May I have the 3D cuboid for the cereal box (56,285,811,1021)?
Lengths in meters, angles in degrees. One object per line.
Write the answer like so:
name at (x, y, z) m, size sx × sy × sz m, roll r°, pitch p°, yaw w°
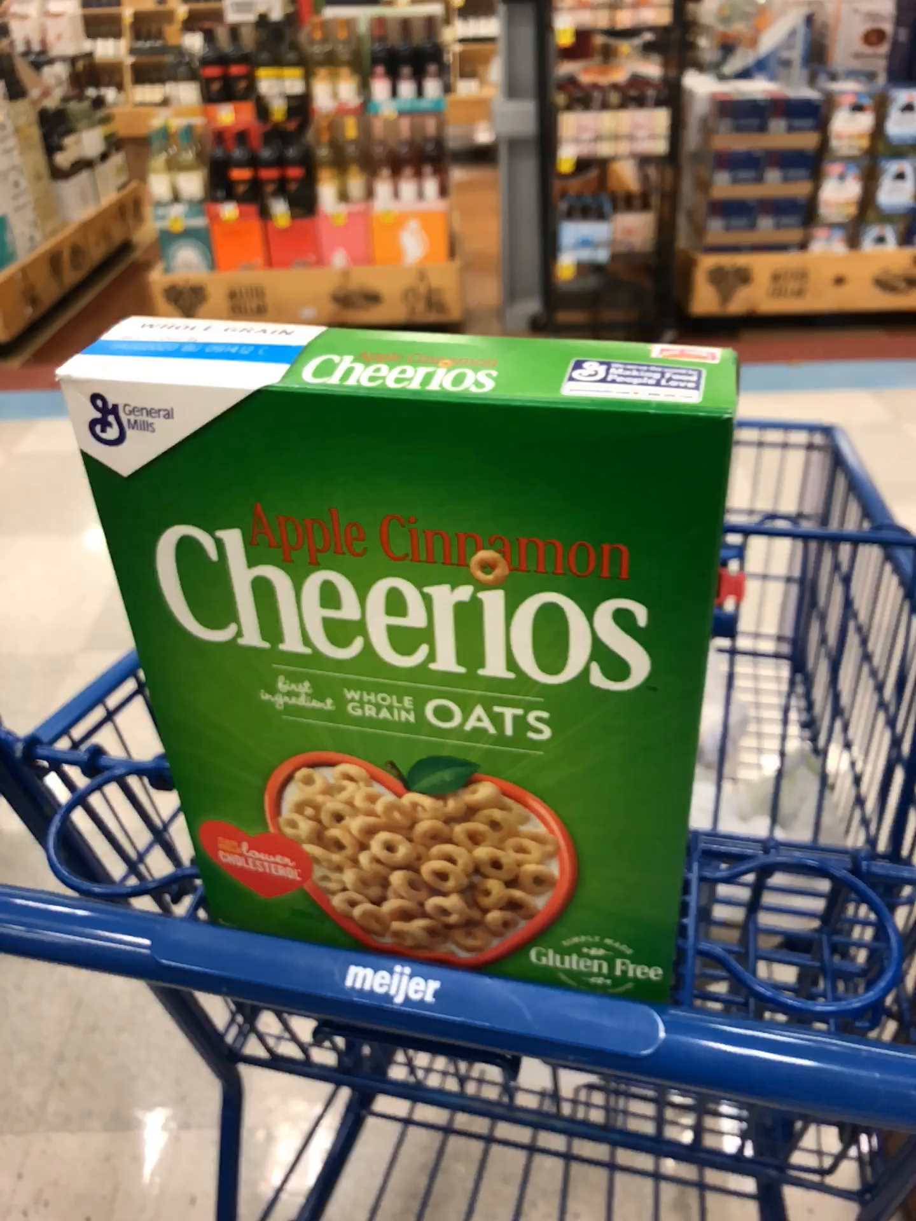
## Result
cereal box at (-0.004, 0.027, 0.372) m, size 0.210 × 0.269 × 0.050 m, roll 5°, pitch 34°, yaw 11°
